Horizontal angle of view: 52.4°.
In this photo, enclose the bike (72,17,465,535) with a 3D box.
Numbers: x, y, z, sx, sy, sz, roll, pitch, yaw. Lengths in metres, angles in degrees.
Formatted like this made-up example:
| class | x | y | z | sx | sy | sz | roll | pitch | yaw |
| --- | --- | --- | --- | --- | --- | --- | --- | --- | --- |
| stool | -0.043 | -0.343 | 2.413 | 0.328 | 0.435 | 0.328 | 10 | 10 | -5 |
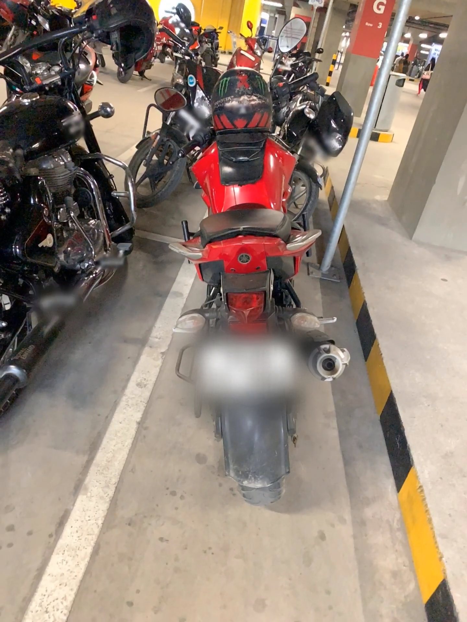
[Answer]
| class | x | y | z | sx | sy | sz | roll | pitch | yaw |
| --- | --- | --- | --- | --- | --- | --- | --- | --- | --- |
| bike | -0.138 | -0.340 | 1.788 | 0.676 | 1.121 | 1.692 | 5 | 32 | -12 |
